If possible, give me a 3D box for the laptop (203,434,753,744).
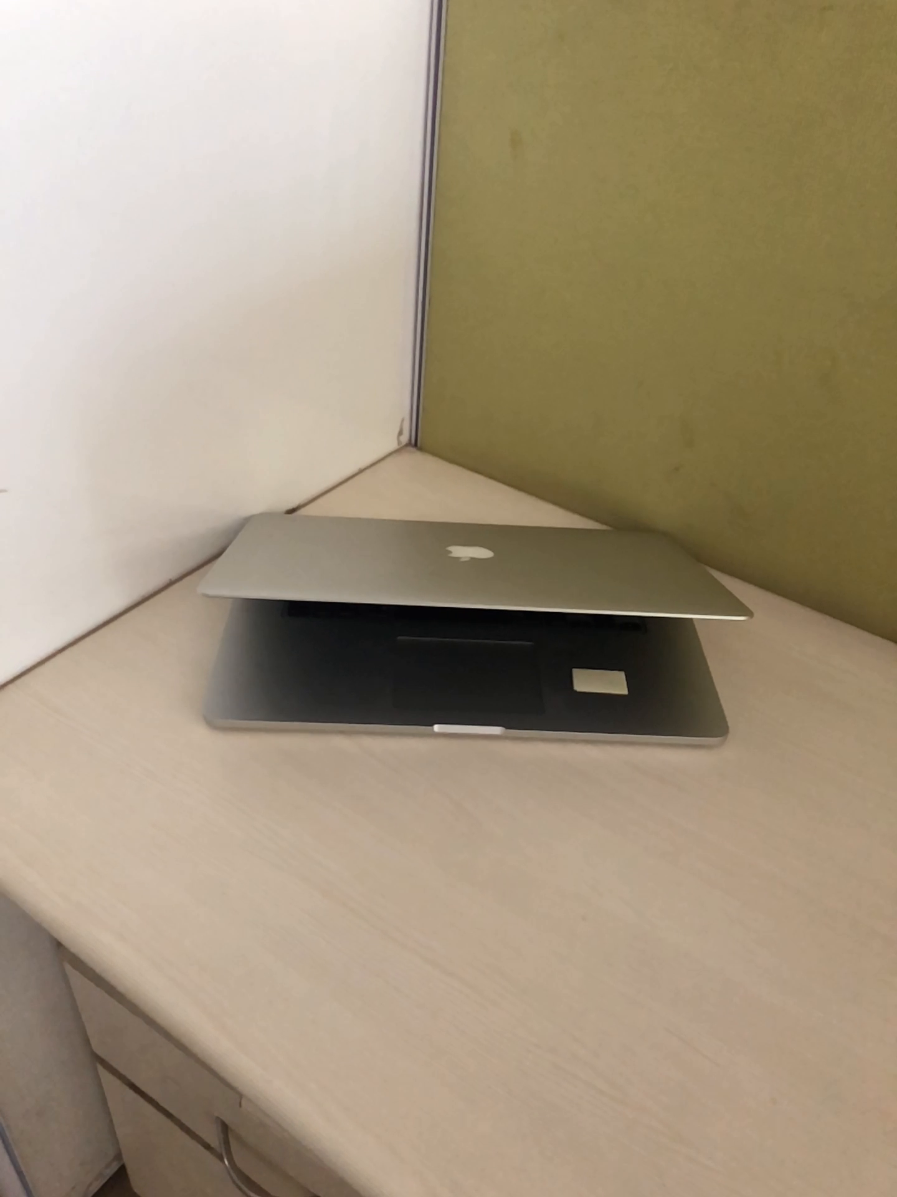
[{"bbox_3d":[0.016,-0.017,0.734,0.343,0.083,0.245,3,37,-3],"label":"laptop"}]
